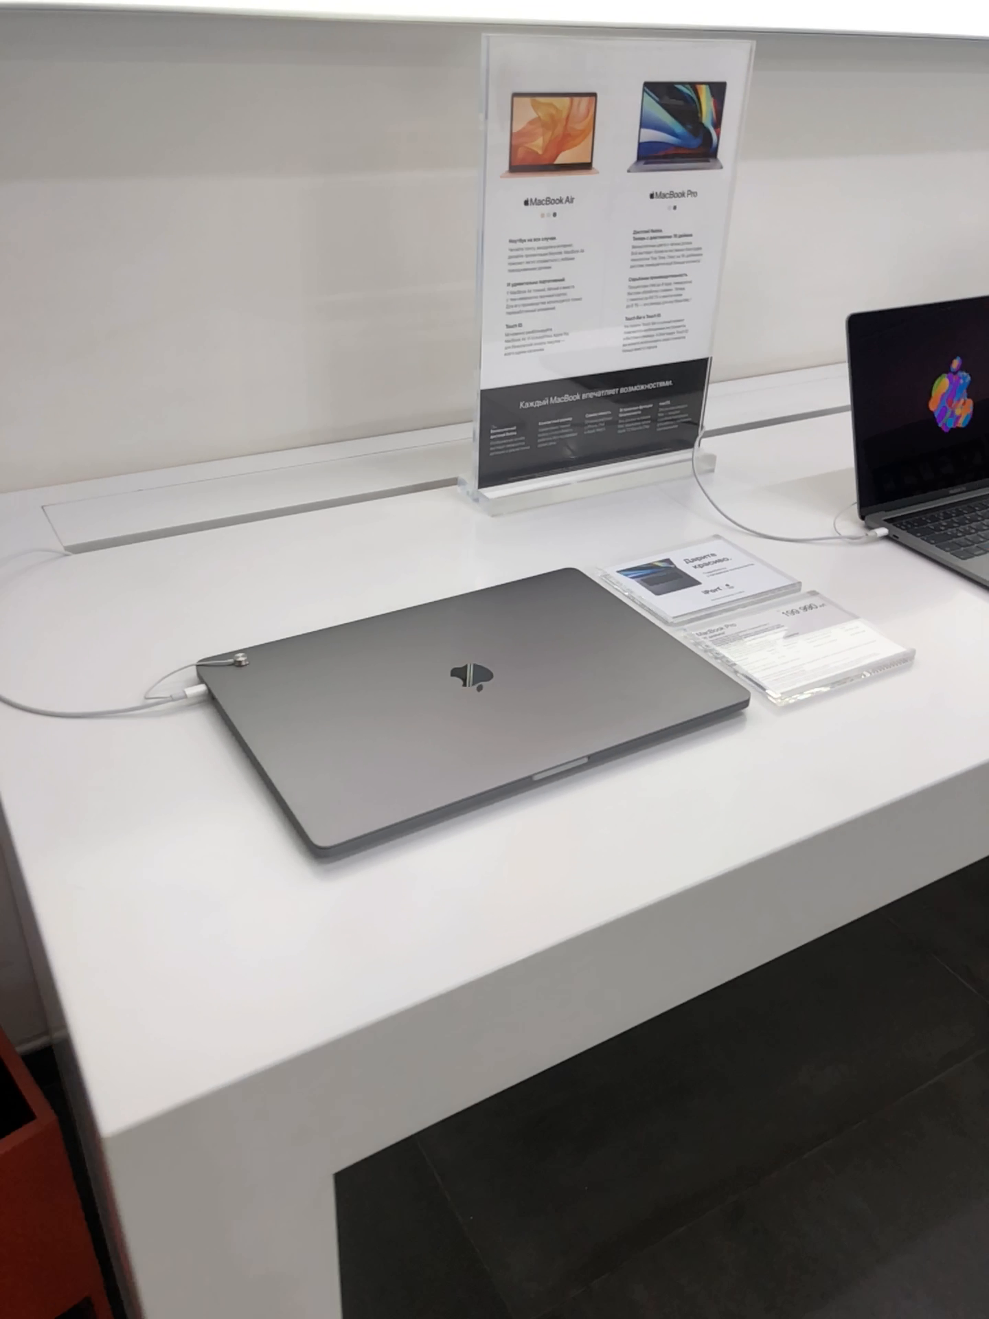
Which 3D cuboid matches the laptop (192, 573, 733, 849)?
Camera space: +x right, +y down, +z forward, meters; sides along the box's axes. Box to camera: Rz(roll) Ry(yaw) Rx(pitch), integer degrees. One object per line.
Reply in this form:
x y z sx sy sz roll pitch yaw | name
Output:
-0.025 0.019 0.825 0.345 0.003 0.232 -16 36 -27 | laptop
